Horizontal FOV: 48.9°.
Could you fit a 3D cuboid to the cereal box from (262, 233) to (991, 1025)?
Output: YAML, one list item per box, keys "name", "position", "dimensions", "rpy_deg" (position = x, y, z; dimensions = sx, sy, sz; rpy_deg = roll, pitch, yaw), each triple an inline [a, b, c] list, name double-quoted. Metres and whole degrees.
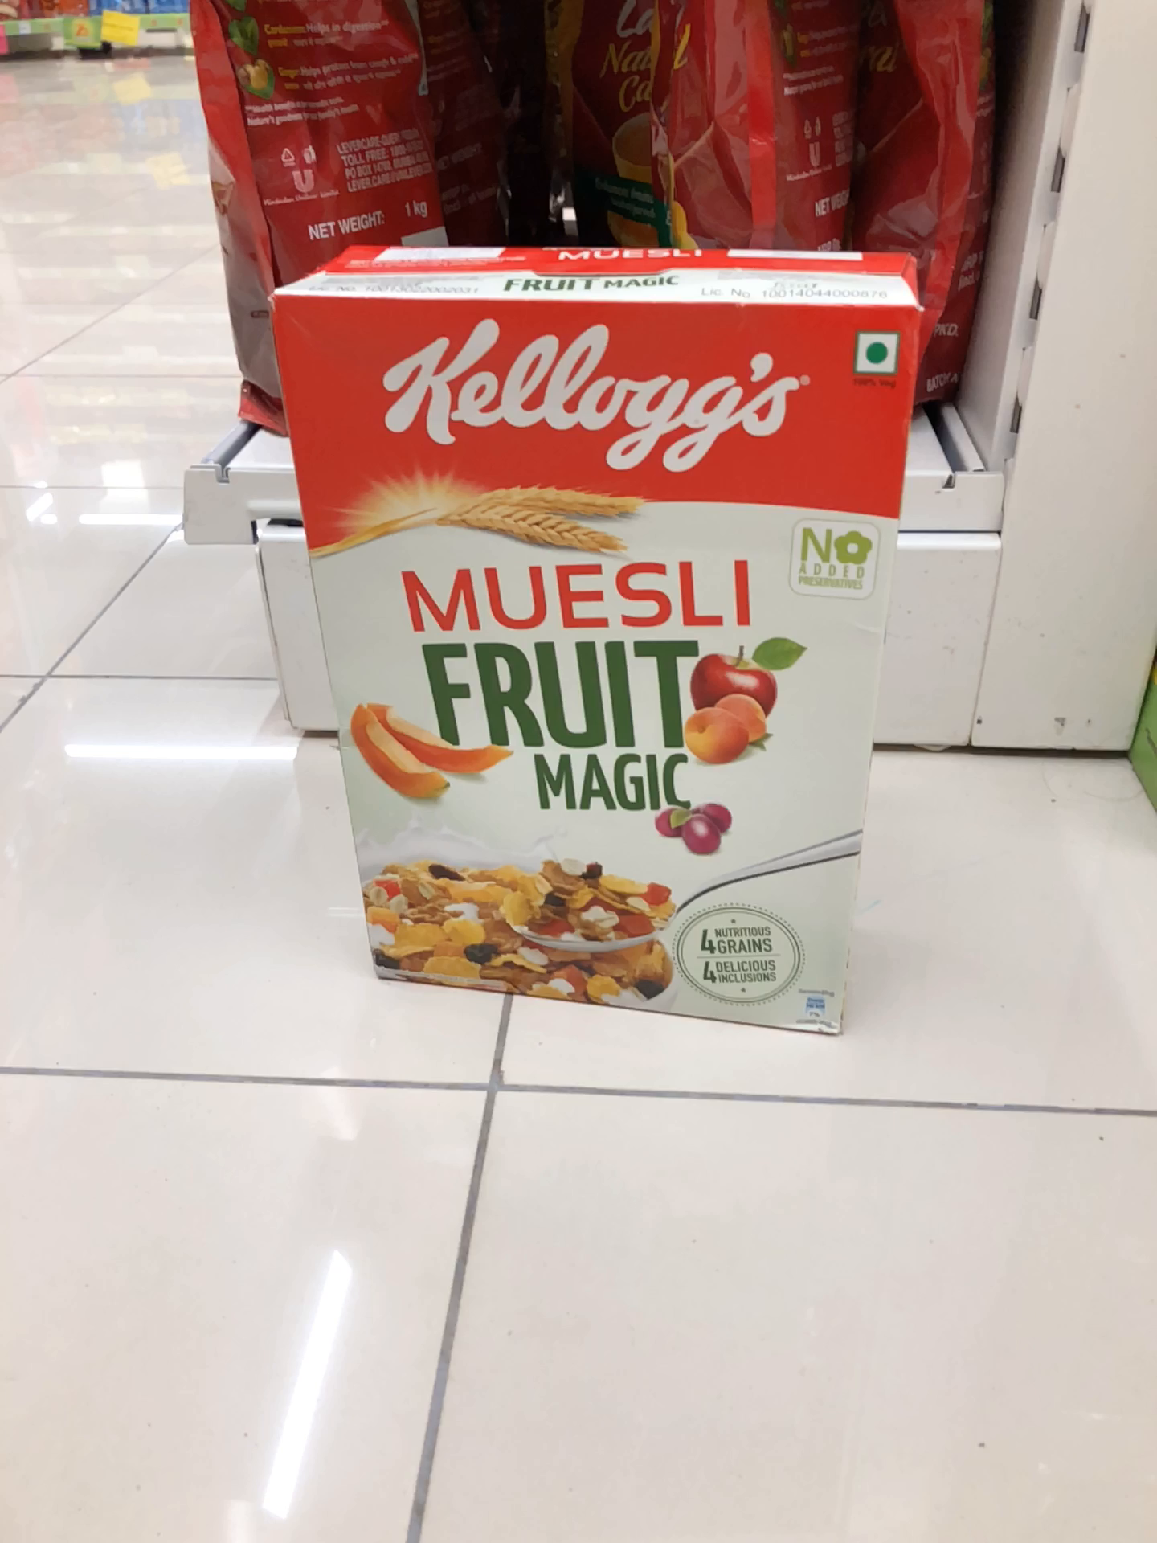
- name: "cereal box"
  position: [0.019, -0.043, 0.424]
  dimensions: [0.190, 0.238, 0.081]
  rpy_deg: [5, 33, 11]
